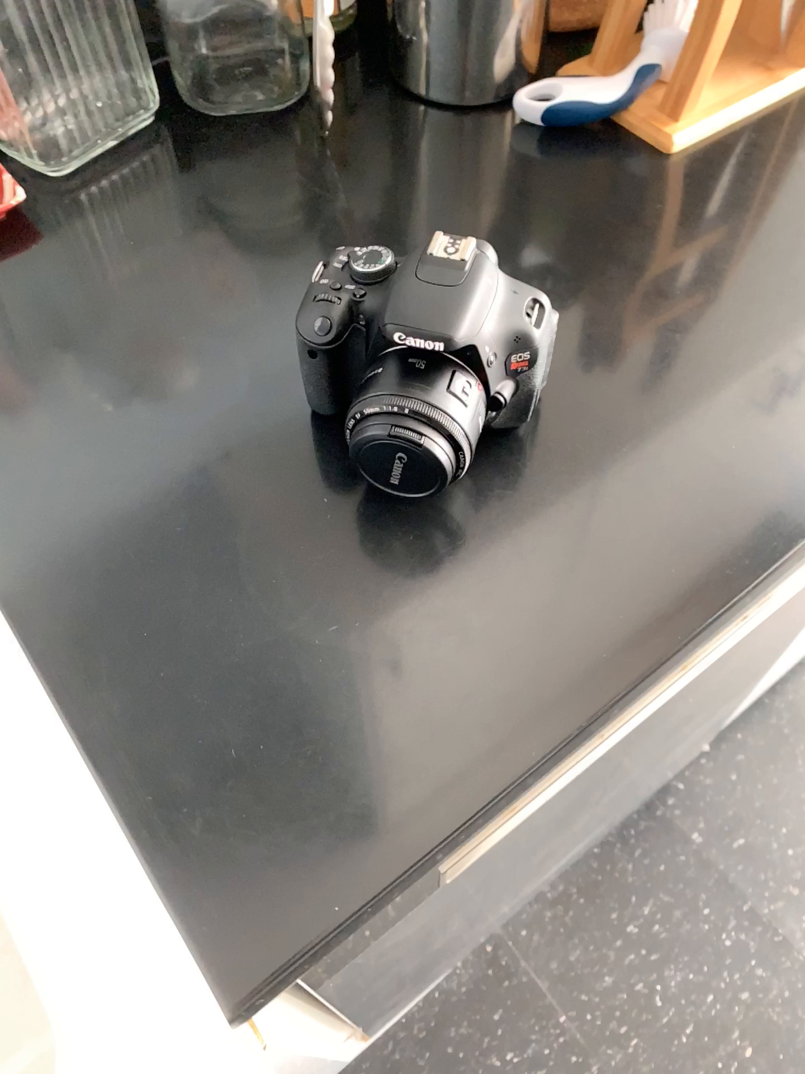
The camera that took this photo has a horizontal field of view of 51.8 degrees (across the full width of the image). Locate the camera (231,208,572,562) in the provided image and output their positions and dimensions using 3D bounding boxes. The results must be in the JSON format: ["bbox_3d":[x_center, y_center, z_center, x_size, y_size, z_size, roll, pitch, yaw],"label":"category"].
[{"bbox_3d":[0.006,-0.088,0.468,0.140,0.100,0.145,13,58,10],"label":"camera"}]
